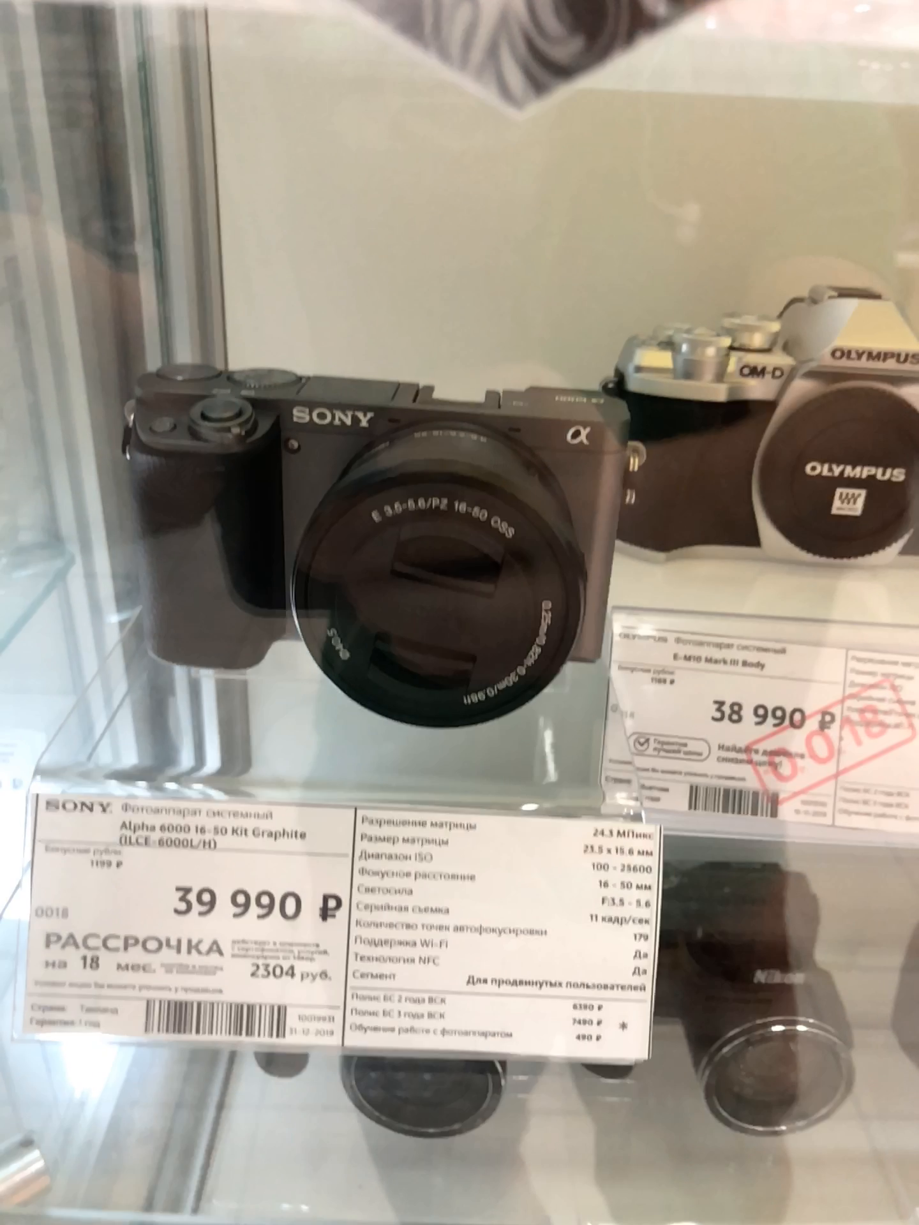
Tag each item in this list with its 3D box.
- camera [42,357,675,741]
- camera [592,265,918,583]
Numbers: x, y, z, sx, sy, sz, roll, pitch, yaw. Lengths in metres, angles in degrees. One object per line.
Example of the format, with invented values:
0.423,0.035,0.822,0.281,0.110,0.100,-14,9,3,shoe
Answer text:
-0.021,-0.019,0.255,0.130,0.070,0.066,3,25,1,camera
0.113,-0.068,0.348,0.122,0.081,0.088,3,25,1,camera
